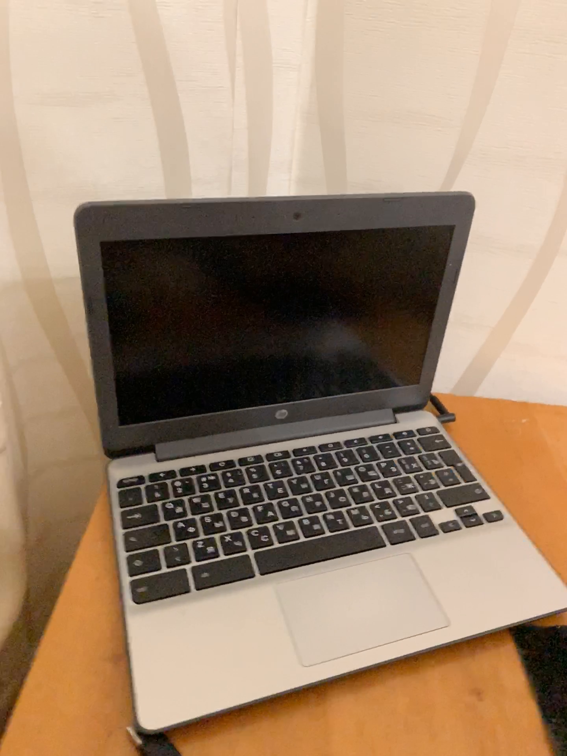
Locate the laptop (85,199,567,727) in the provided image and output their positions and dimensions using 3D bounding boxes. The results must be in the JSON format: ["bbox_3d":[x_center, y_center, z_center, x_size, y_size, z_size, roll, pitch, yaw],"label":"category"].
[{"bbox_3d":[0.035,0.021,0.357,0.271,0.187,0.207,-7,37,-18],"label":"laptop"}]
